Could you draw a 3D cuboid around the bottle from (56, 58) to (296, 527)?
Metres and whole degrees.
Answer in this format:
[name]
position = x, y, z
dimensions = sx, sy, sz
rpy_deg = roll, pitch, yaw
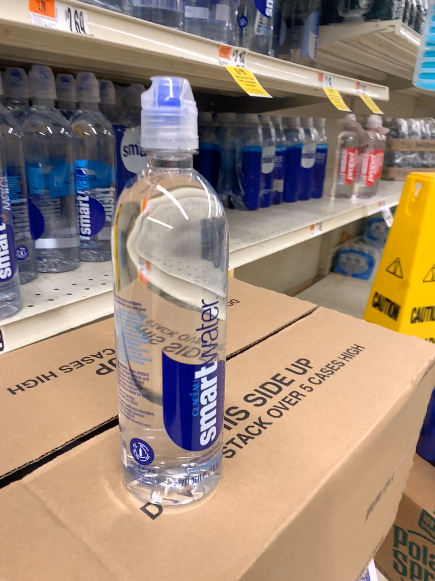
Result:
[bottle]
position = -0.029, 0.001, 0.281
dimensions = 0.090, 0.249, 0.090
rpy_deg = 3, 21, -1
